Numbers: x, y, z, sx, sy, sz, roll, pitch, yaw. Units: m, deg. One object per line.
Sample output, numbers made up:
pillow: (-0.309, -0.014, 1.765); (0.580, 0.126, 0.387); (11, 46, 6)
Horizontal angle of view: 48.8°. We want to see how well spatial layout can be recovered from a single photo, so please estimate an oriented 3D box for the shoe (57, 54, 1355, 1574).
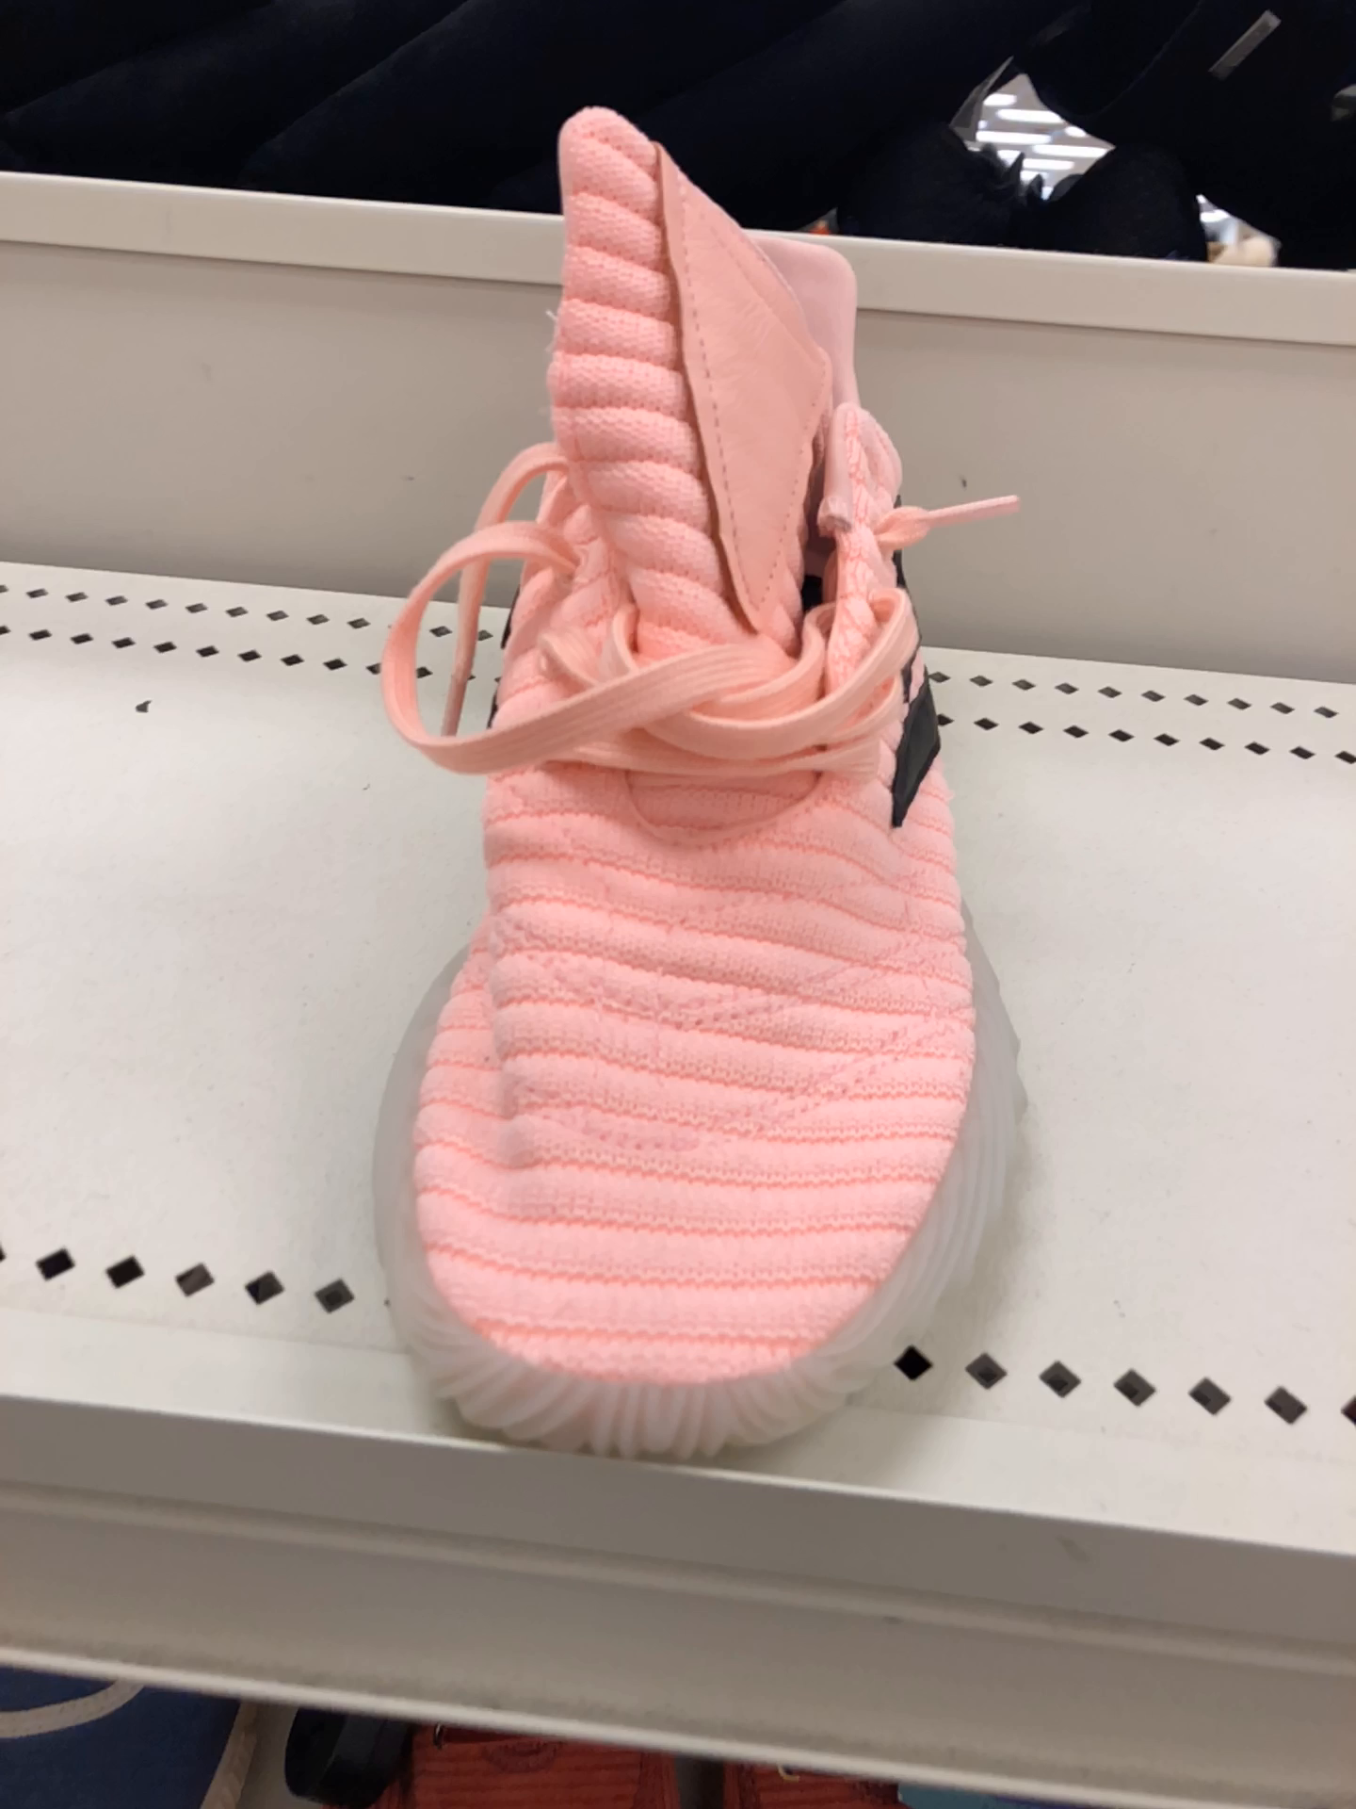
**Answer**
shoe: (0.022, -0.066, 0.314); (0.120, 0.168, 0.323); (7, 34, 6)
